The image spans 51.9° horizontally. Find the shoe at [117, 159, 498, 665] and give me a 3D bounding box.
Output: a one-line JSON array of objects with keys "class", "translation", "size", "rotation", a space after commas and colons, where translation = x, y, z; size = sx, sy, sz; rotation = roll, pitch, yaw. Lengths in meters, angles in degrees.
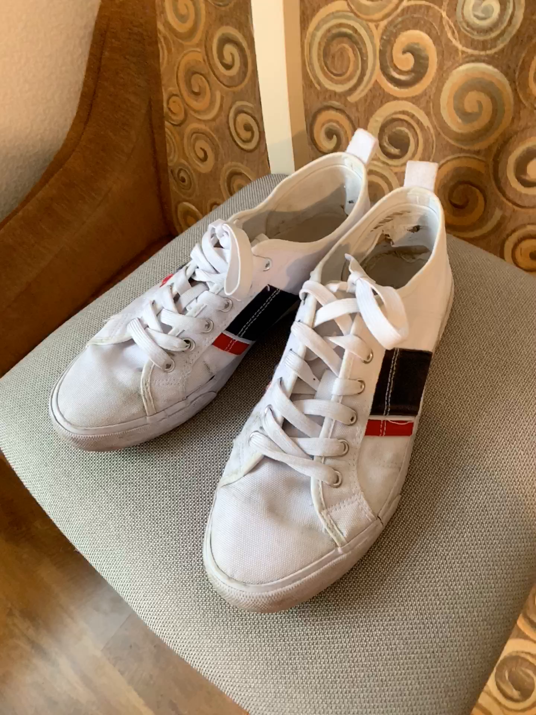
[{"class": "shoe", "translation": [0.040, 0.019, 0.336], "size": [0.110, 0.090, 0.270], "rotation": [18, 68, 20]}]

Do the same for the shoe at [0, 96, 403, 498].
[{"class": "shoe", "translation": [-0.049, -0.048, 0.396], "size": [0.280, 0.090, 0.120], "rotation": [-39, 62, -9]}]
